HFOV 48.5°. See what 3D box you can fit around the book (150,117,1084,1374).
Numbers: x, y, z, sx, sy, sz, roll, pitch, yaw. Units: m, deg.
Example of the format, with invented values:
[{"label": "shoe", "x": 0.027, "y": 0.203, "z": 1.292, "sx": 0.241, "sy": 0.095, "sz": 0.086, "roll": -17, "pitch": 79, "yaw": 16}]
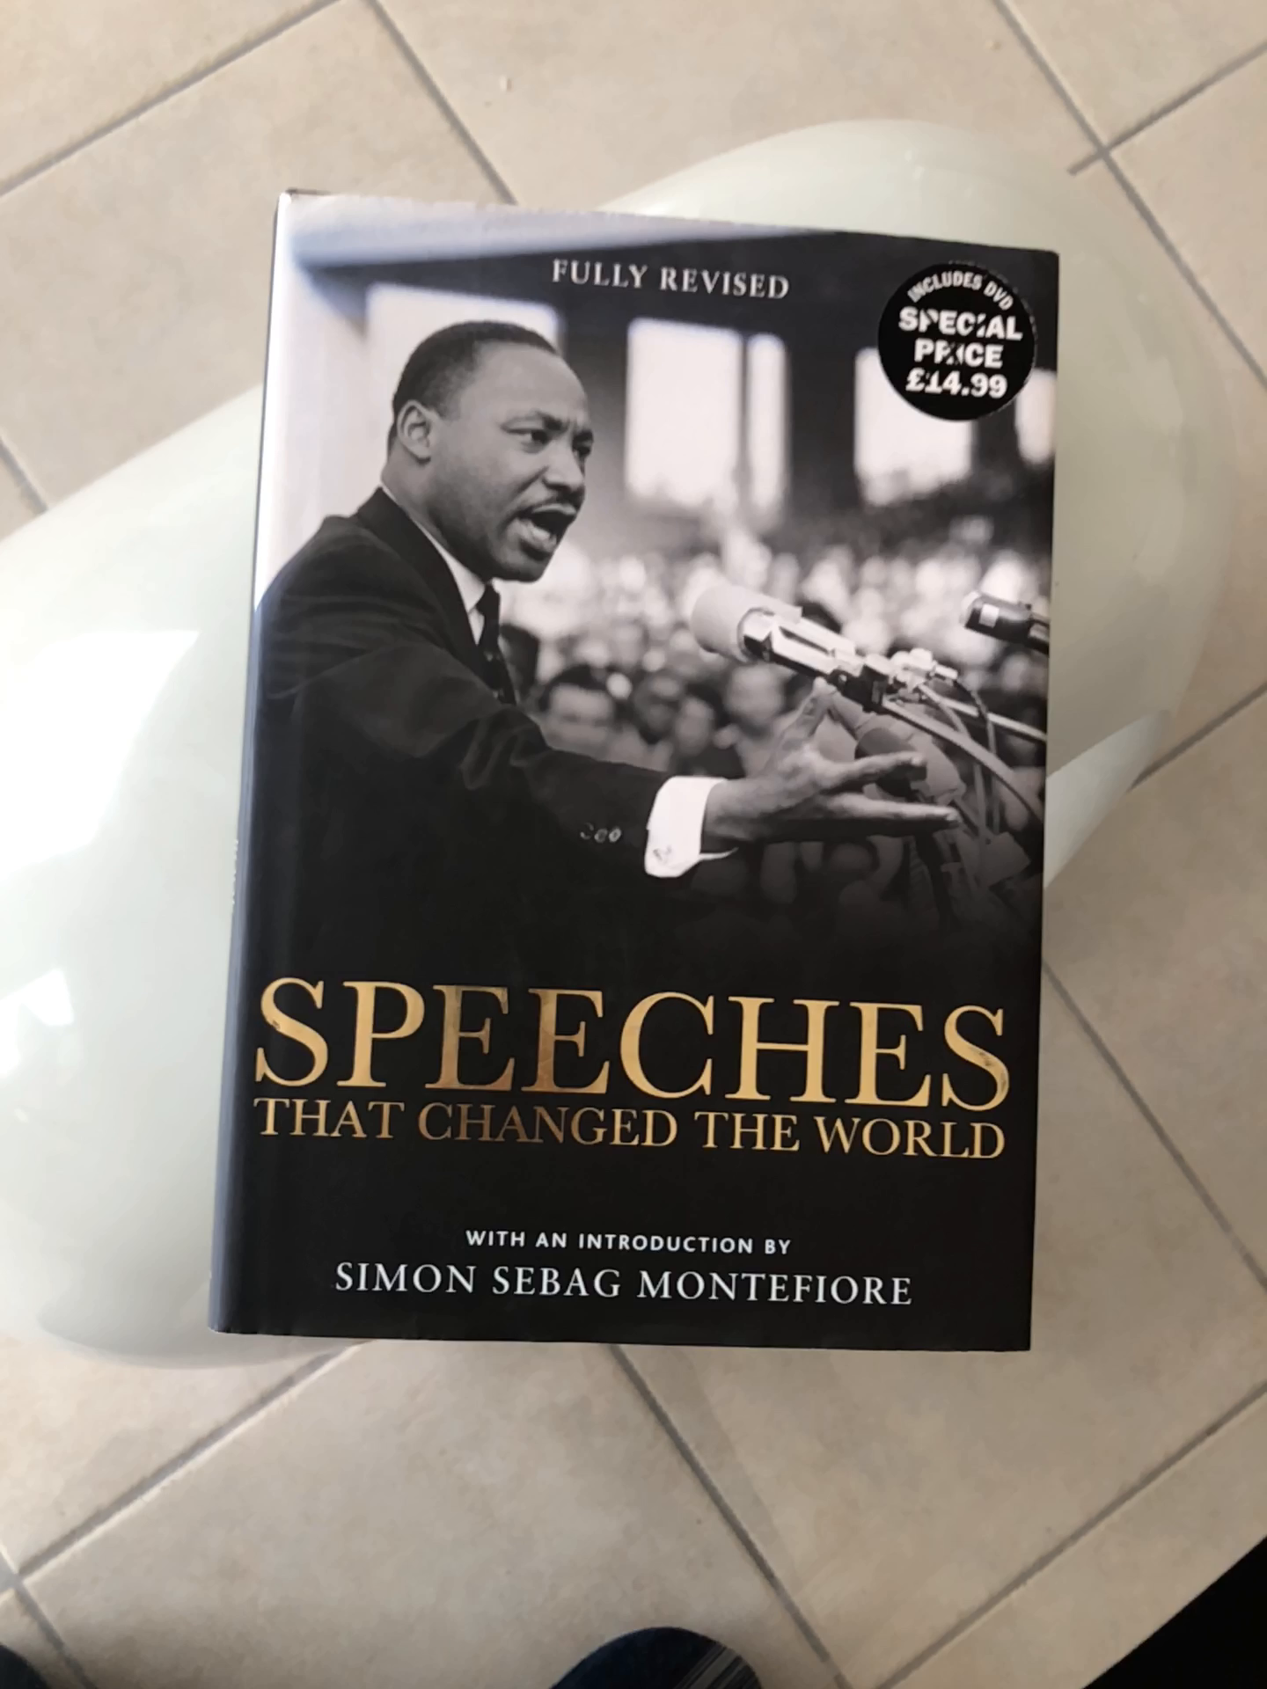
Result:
[{"label": "book", "x": 0.002, "y": -0.024, "z": 0.353, "sx": 0.210, "sy": 0.040, "sz": 0.290, "roll": 3, "pitch": 85, "yaw": -5}]
